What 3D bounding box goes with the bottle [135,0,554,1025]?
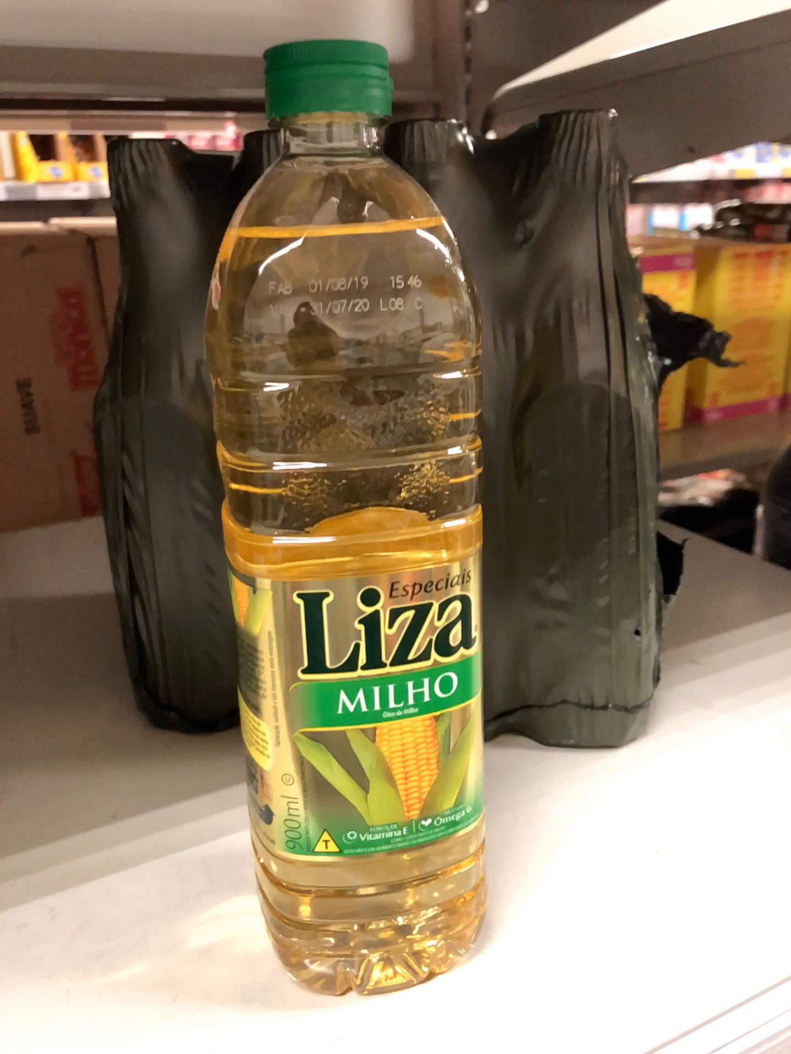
[{"bbox_3d":[-0.011,0.000,0.239,0.080,0.249,0.070,-8,20,-15],"label":"bottle"}]
